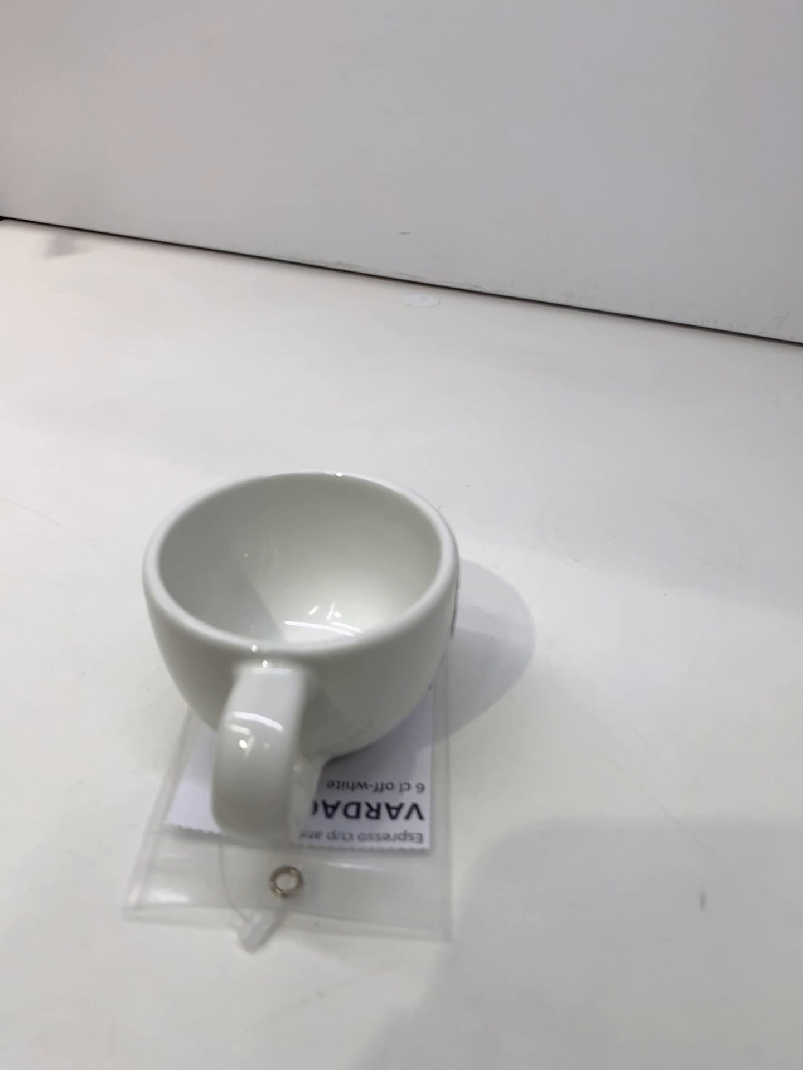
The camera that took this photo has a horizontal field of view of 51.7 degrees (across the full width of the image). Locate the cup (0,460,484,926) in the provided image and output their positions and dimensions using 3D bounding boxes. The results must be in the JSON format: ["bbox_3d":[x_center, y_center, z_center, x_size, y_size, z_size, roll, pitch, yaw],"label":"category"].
[{"bbox_3d":[-0.021,0.024,0.163,0.070,0.040,0.080,4,34,2],"label":"cup"}]
